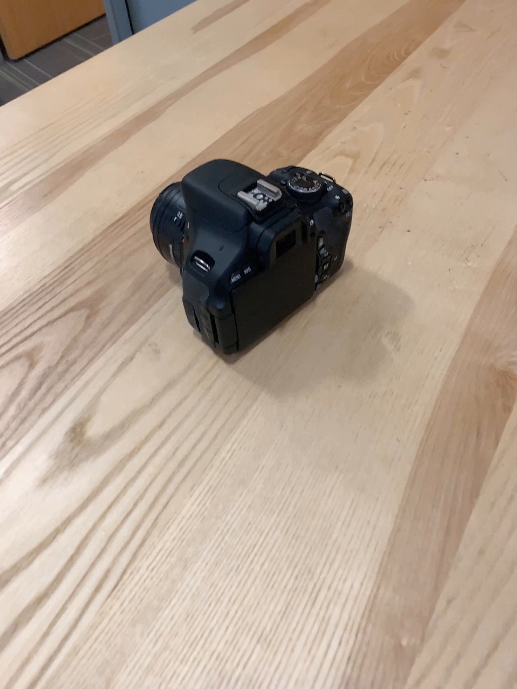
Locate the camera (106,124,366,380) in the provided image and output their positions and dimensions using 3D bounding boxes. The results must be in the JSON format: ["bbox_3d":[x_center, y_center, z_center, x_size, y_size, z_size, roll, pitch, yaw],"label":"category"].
[{"bbox_3d":[-0.013,-0.071,0.379,0.116,0.094,0.123,35,60,29],"label":"camera"}]
